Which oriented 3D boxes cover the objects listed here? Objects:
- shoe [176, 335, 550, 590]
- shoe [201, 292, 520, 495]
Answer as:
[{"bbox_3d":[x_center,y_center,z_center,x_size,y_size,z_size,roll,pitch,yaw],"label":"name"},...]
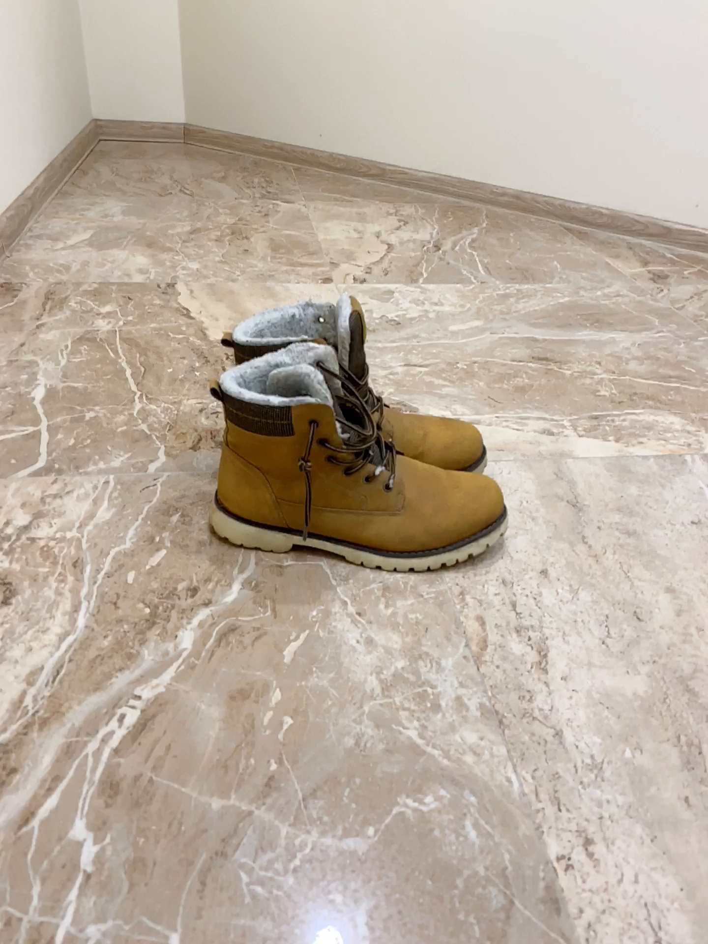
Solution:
[{"bbox_3d":[0.005,-0.011,0.630,0.280,0.159,0.121,5,33,1],"label":"shoe"},{"bbox_3d":[0.005,-0.081,0.718,0.280,0.139,0.121,5,33,1],"label":"shoe"}]
